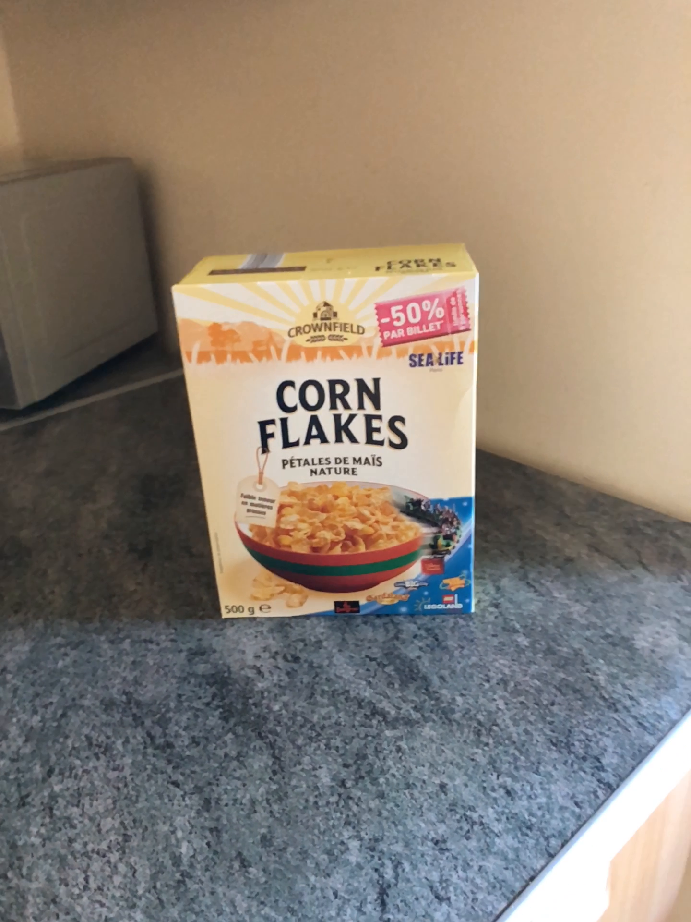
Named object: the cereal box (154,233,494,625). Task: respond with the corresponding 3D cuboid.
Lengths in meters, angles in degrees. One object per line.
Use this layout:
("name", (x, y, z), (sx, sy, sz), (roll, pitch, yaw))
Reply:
("cereal box", (-0.006, -0.019, 0.548), (0.200, 0.259, 0.101), (-1, 25, 3))
